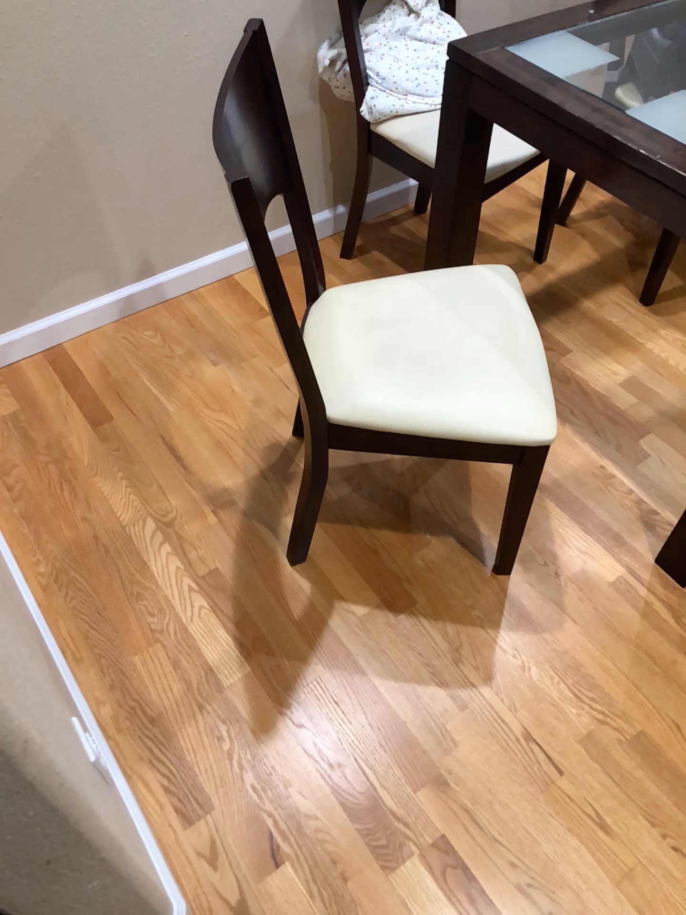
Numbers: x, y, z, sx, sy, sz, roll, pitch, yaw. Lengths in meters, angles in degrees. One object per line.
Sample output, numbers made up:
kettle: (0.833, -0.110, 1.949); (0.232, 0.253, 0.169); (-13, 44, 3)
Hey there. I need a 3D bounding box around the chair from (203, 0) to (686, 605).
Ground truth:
chair: (0.120, -0.206, 1.298); (0.530, 0.906, 0.523); (1, 50, 0)
